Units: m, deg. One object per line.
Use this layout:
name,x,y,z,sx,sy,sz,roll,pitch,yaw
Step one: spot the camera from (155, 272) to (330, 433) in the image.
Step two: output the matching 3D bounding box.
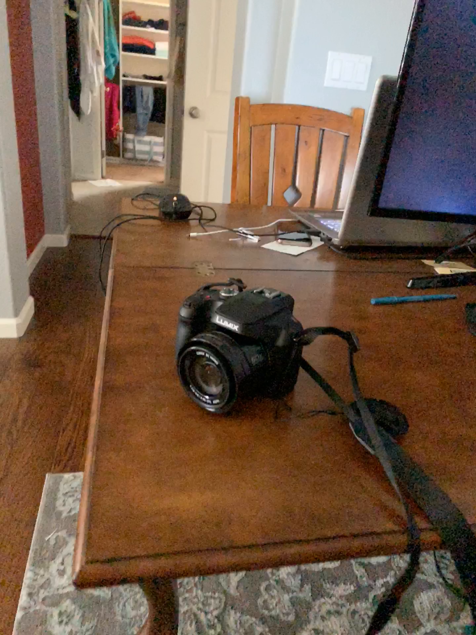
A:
camera,0.004,0.026,0.496,0.130,0.089,0.111,21,28,28
